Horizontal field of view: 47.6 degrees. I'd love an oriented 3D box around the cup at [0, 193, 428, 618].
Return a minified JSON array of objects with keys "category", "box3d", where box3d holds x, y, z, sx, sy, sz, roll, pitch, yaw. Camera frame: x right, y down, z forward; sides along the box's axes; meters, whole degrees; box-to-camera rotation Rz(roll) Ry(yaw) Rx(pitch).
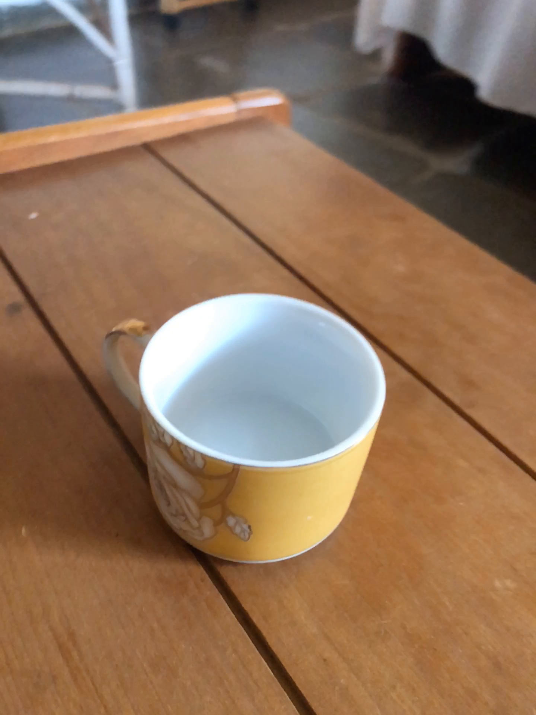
[{"category":"cup","box3d":[-0.016,0.006,0.162,0.090,0.050,0.070,22,45,15]}]
